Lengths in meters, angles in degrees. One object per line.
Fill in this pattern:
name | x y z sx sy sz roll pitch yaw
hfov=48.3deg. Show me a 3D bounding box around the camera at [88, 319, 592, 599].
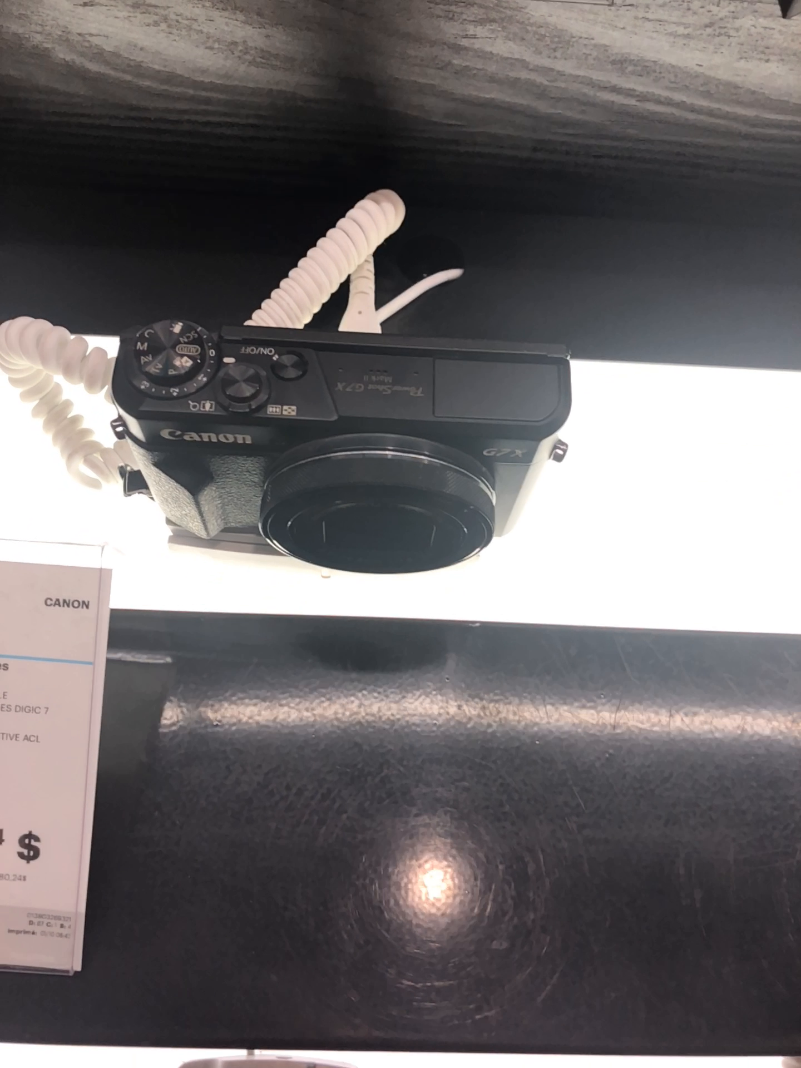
camera | -0.013 -0.015 0.211 0.100 0.056 0.038 3 64 -2
